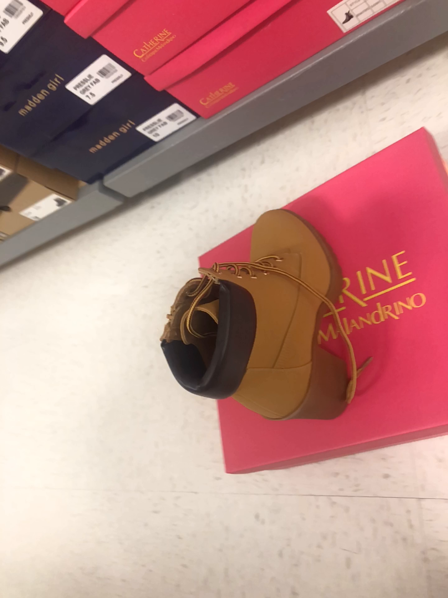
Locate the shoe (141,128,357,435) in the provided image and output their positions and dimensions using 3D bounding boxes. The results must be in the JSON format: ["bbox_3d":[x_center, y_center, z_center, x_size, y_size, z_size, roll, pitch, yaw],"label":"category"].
[{"bbox_3d":[0.020,-0.002,0.438,0.085,0.169,0.217,-22,61,37],"label":"shoe"}]
